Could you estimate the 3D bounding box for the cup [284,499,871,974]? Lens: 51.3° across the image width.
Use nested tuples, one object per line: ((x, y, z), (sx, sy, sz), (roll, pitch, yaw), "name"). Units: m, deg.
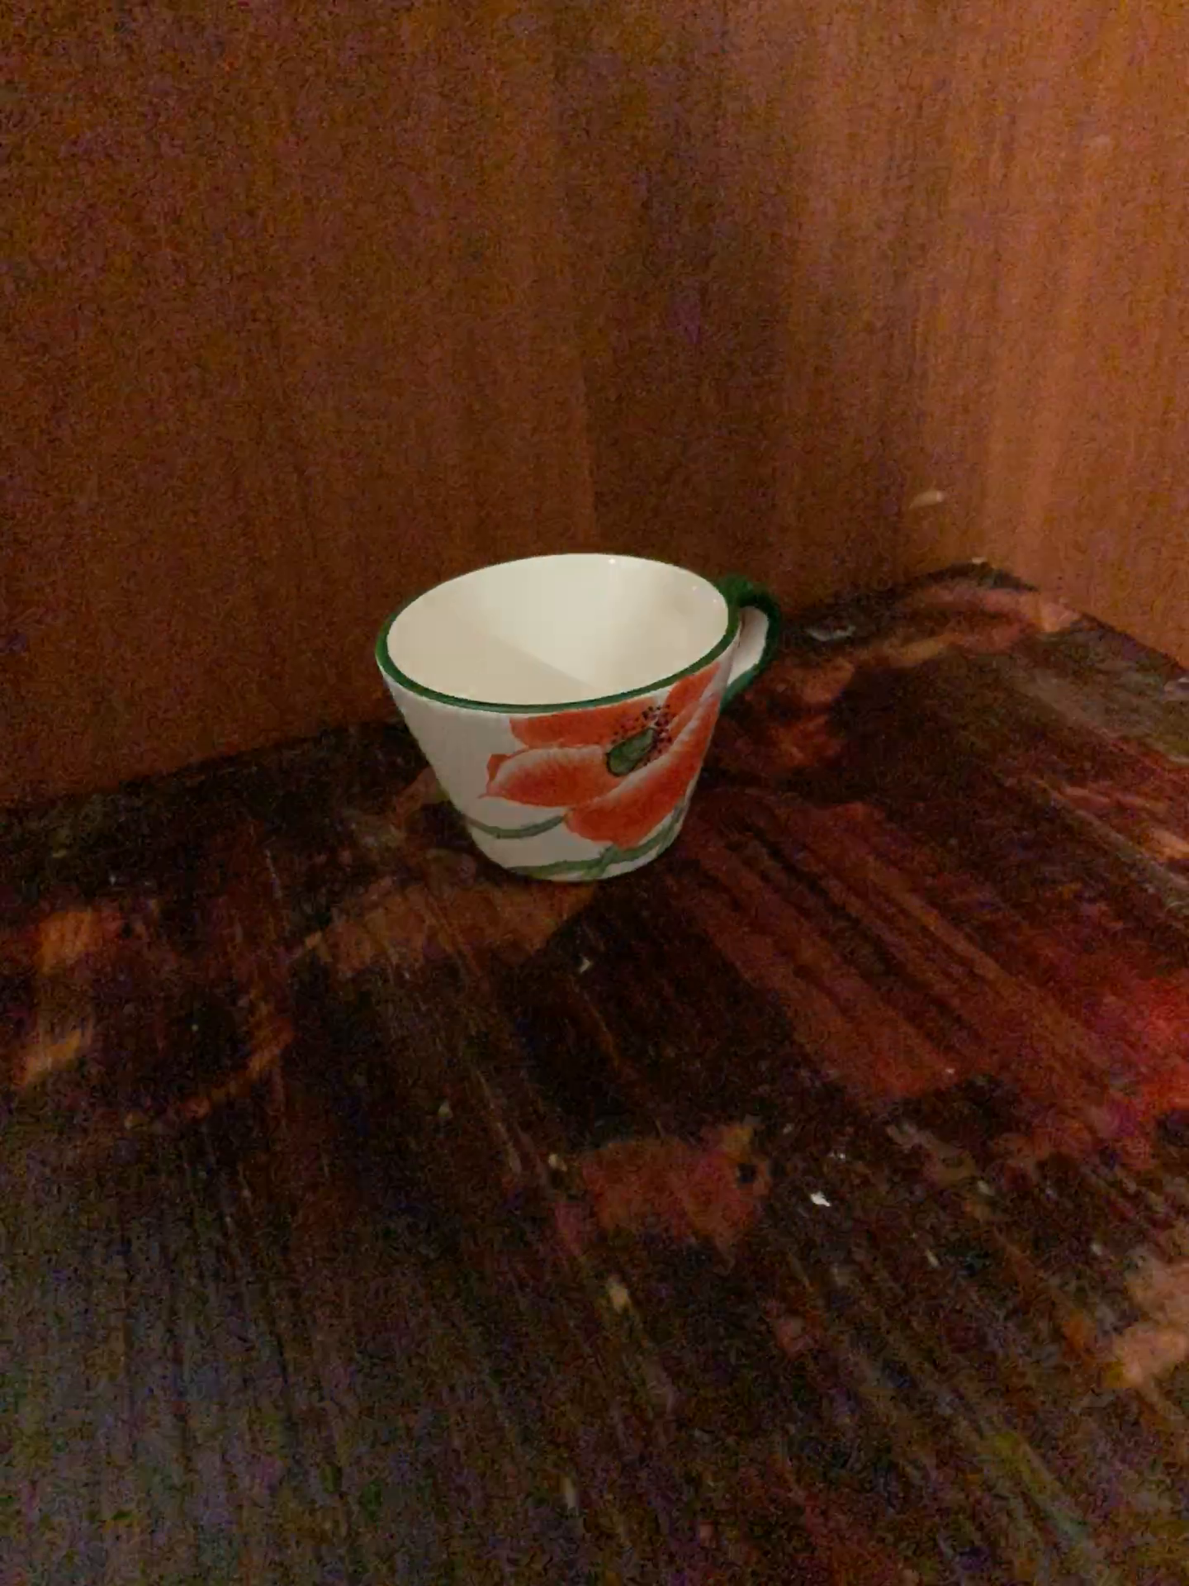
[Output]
((-0.002, -0.019, 0.265), (0.094, 0.045, 0.076), (-27, 39, -29), "cup")
